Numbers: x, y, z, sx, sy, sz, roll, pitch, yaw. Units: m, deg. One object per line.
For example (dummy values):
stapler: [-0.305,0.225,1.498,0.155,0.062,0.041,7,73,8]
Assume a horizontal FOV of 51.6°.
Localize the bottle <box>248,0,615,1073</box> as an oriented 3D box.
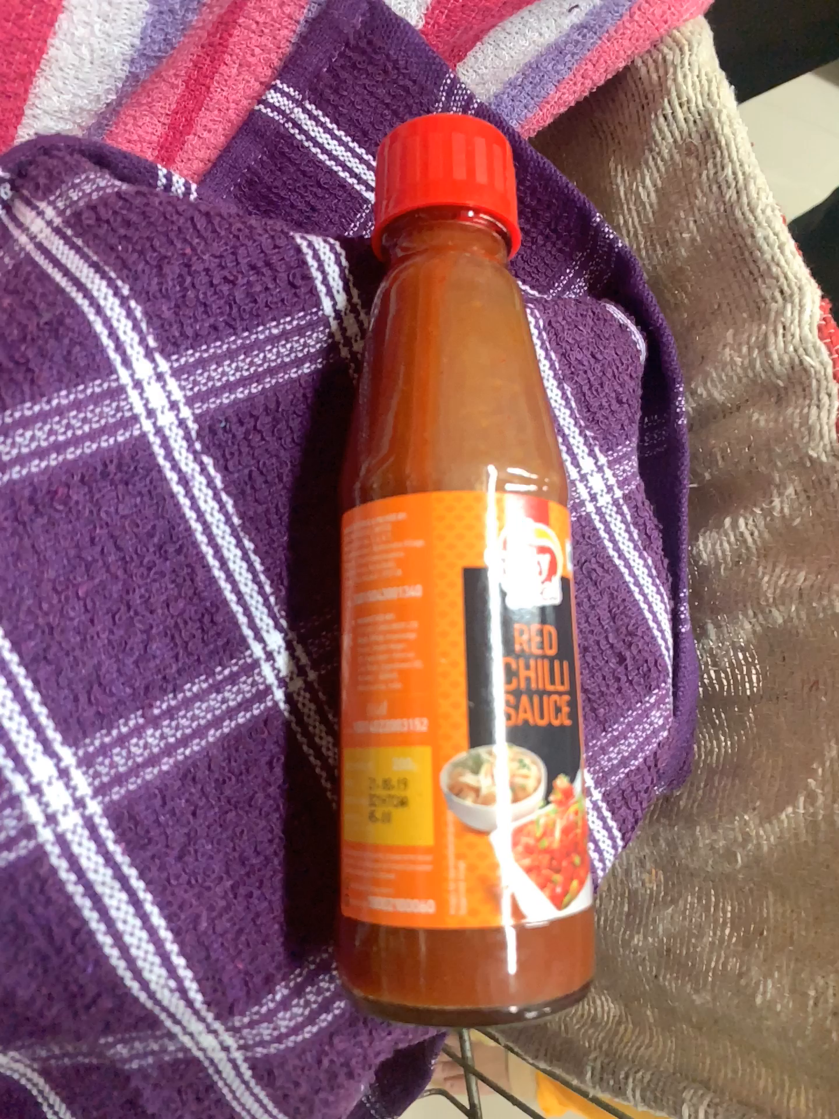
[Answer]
bottle: [0.000,-0.014,0.163,0.050,0.040,0.180,4,80,-29]
